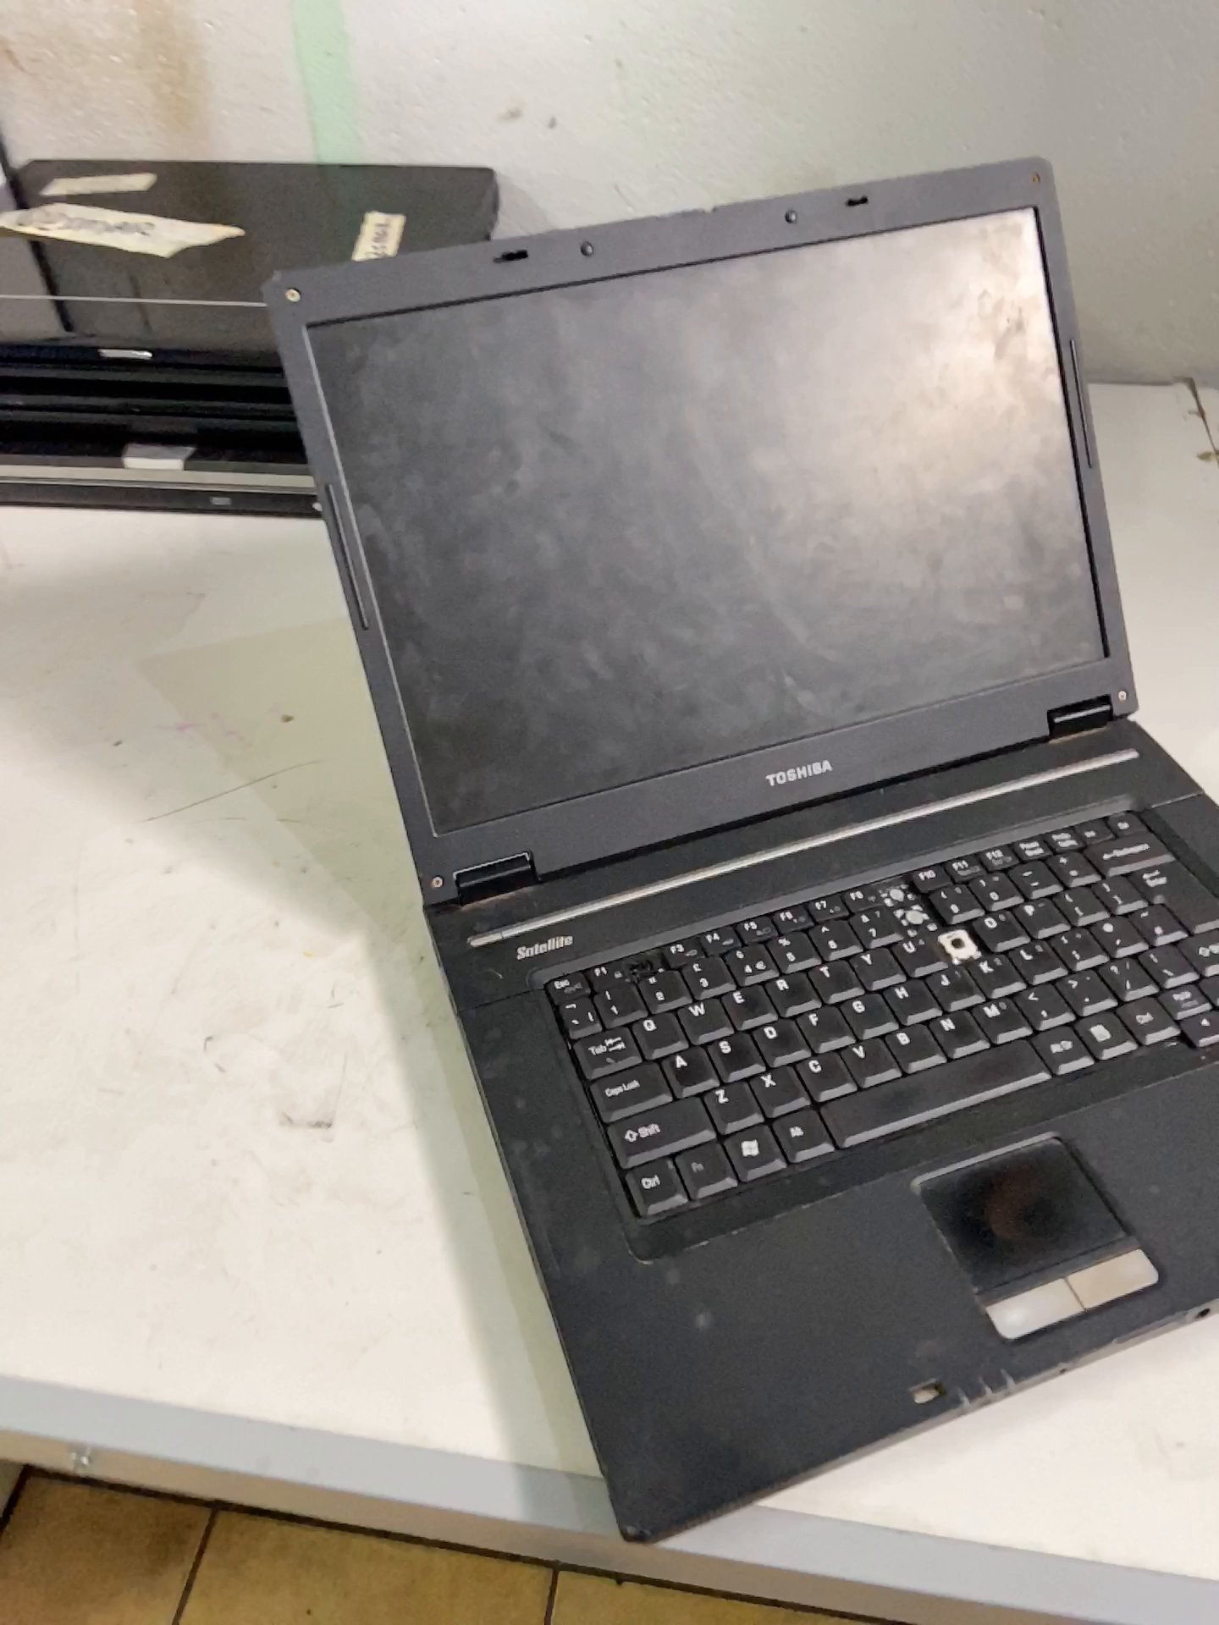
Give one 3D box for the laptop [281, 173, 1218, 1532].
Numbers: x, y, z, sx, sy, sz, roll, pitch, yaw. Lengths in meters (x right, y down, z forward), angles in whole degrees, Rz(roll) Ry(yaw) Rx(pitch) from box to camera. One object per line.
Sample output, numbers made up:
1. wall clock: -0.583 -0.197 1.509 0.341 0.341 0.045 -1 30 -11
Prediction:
1. laptop: 0.106 -0.041 0.469 0.356 0.212 0.404 -15 45 -12
